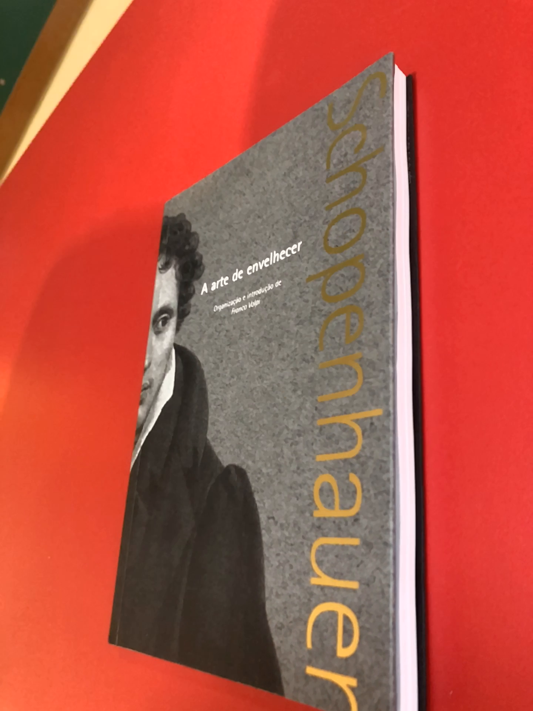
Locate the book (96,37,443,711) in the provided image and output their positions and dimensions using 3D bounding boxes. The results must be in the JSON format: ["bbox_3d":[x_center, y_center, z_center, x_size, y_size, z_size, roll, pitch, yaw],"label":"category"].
[{"bbox_3d":[-0.006,0.008,0.211,0.137,0.017,0.196,-16,64,45],"label":"book"}]
